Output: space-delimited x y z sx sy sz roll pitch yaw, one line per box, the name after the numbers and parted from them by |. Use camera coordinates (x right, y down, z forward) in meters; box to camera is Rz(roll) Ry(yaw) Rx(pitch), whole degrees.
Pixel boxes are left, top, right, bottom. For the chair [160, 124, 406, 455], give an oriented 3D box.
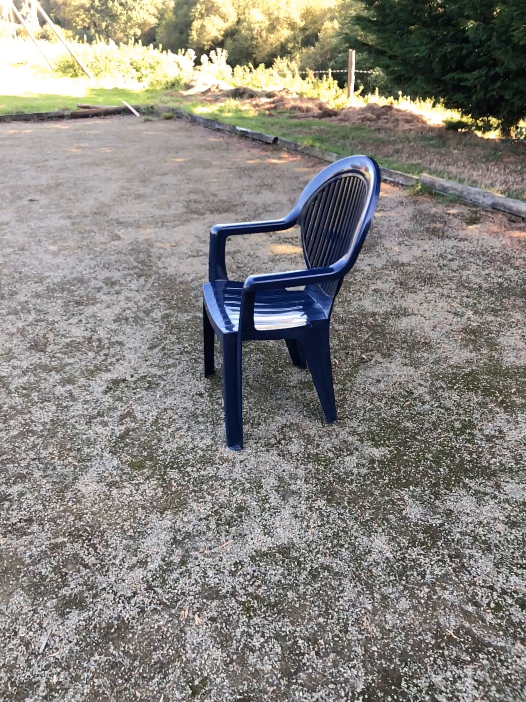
0.034 -0.233 1.901 0.571 0.855 0.593 -10 30 -13 | chair
